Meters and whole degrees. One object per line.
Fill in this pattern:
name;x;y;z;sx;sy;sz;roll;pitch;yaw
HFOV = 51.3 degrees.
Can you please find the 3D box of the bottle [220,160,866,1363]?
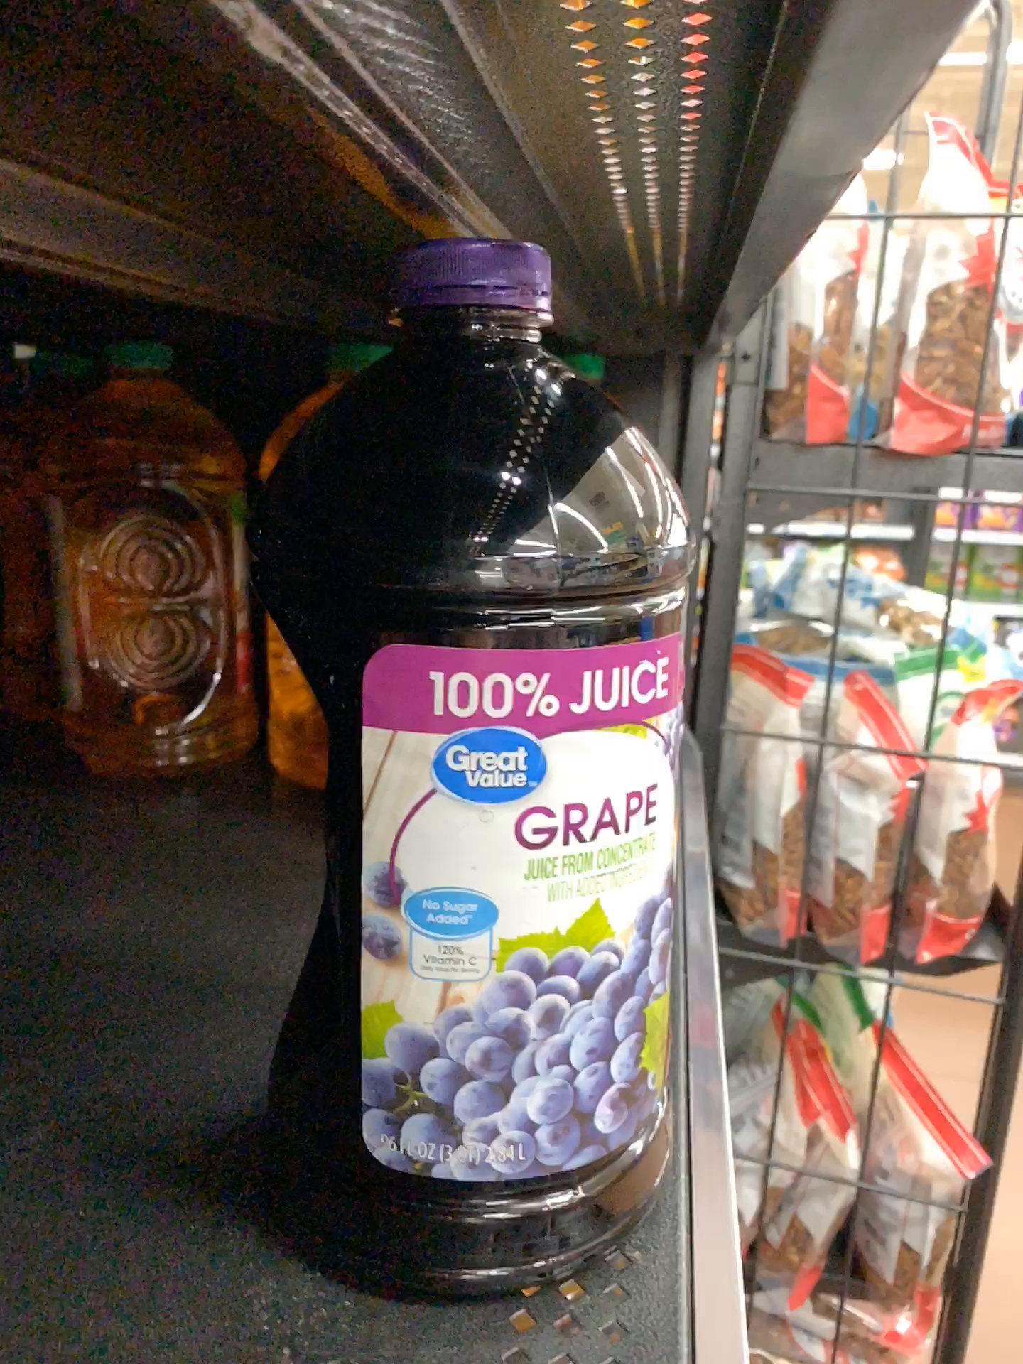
bottle;-0.009;0.017;0.319;0.130;0.279;0.140;2;14;0
